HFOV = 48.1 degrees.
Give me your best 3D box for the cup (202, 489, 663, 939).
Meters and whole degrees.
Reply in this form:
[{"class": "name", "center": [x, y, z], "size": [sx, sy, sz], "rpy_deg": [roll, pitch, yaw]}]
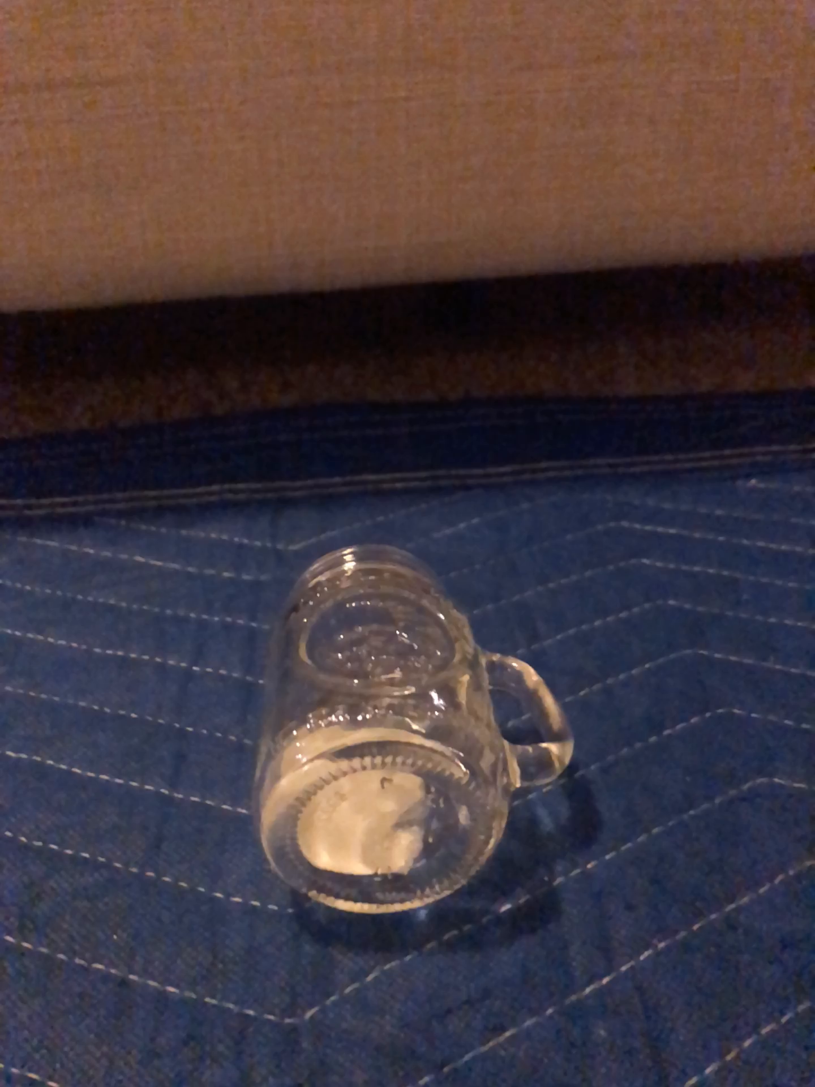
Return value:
[{"class": "cup", "center": [0.001, 0.035, 0.224], "size": [0.088, 0.043, 0.096], "rpy_deg": [-3, 34, 2]}]
